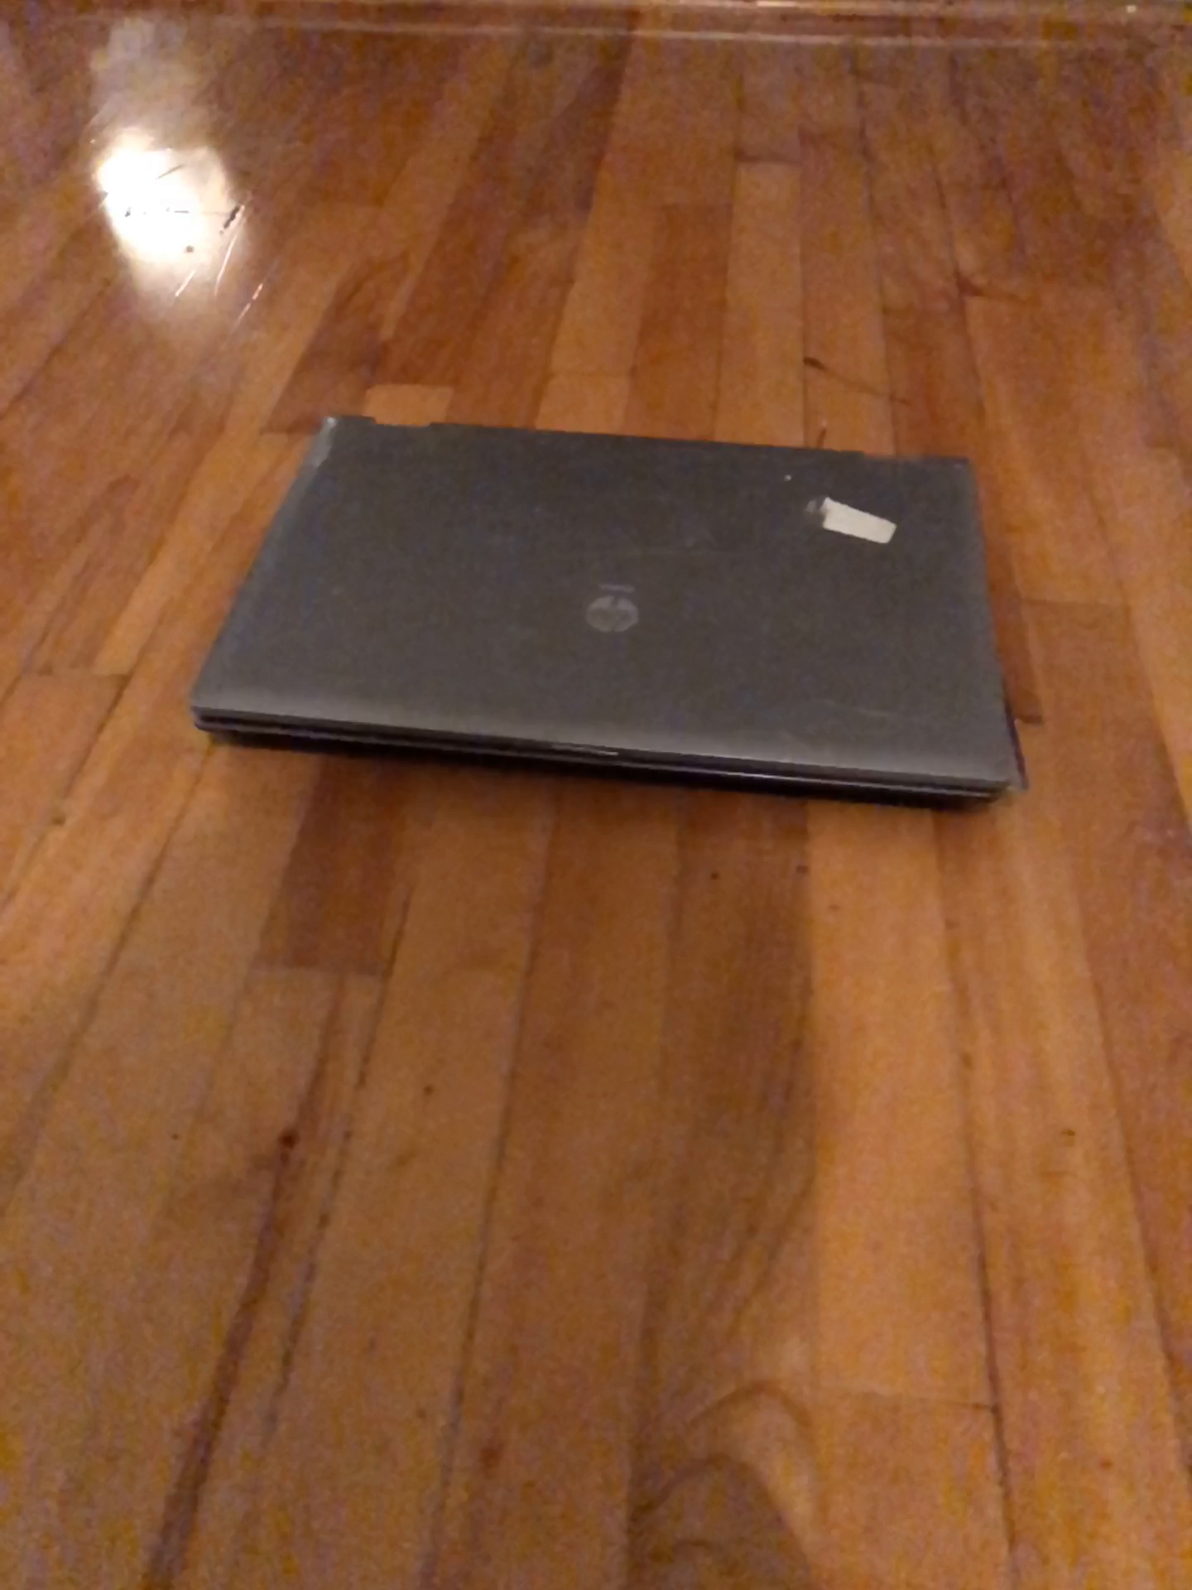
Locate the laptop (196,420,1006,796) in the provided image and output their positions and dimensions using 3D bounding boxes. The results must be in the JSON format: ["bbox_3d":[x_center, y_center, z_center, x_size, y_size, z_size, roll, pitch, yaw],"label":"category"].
[{"bbox_3d":[0.013,-0.108,0.666,0.362,0.010,0.242,5,48,5],"label":"laptop"}]
